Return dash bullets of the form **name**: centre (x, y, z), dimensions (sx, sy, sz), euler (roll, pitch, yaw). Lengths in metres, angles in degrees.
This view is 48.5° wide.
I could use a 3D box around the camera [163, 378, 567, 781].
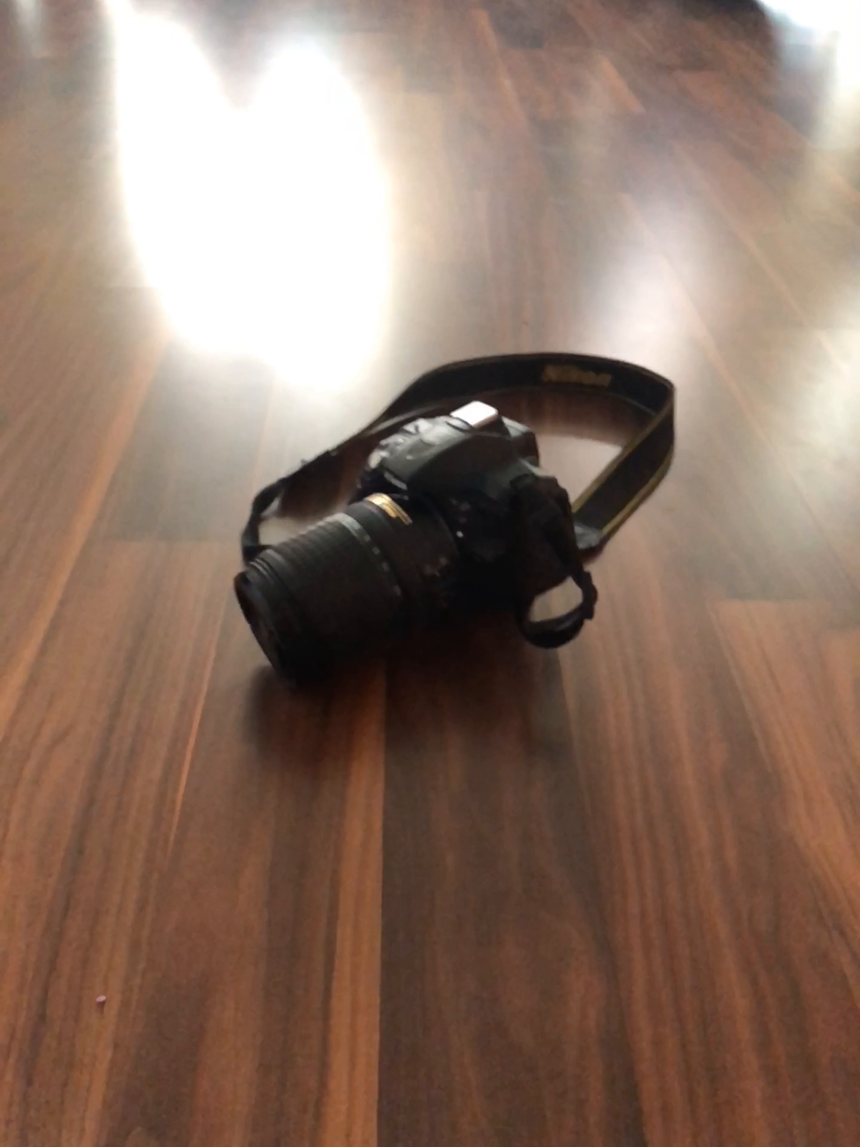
- **camera**: centre (-0.031, -0.003, 0.540), dimensions (0.180, 0.129, 0.110), euler (-26, 46, -25)
